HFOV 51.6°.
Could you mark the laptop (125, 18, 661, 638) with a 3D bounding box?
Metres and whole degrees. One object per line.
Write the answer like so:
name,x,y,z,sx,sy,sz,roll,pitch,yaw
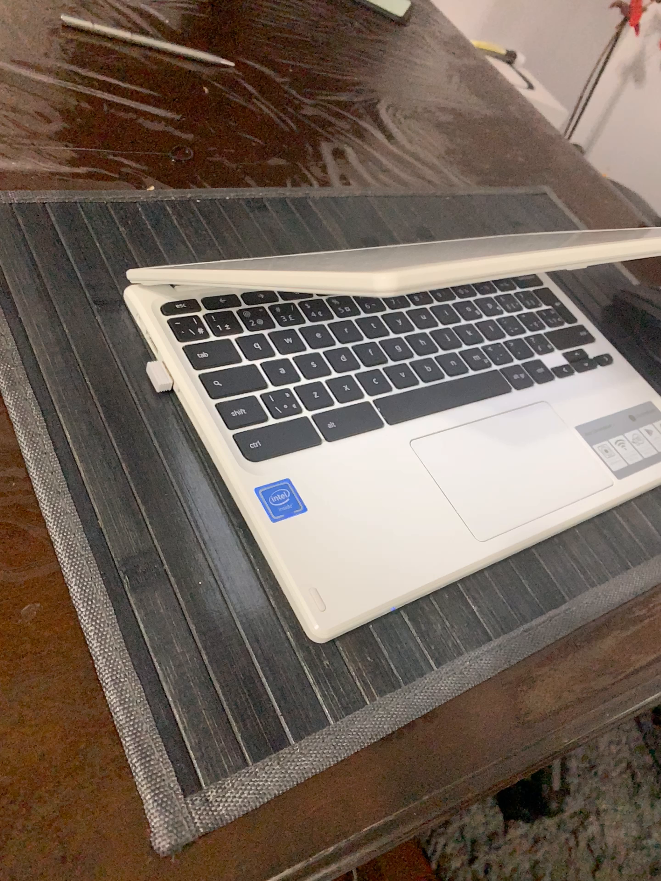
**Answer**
laptop,0.082,-0.069,0.316,0.282,0.124,0.181,-17,61,-34
